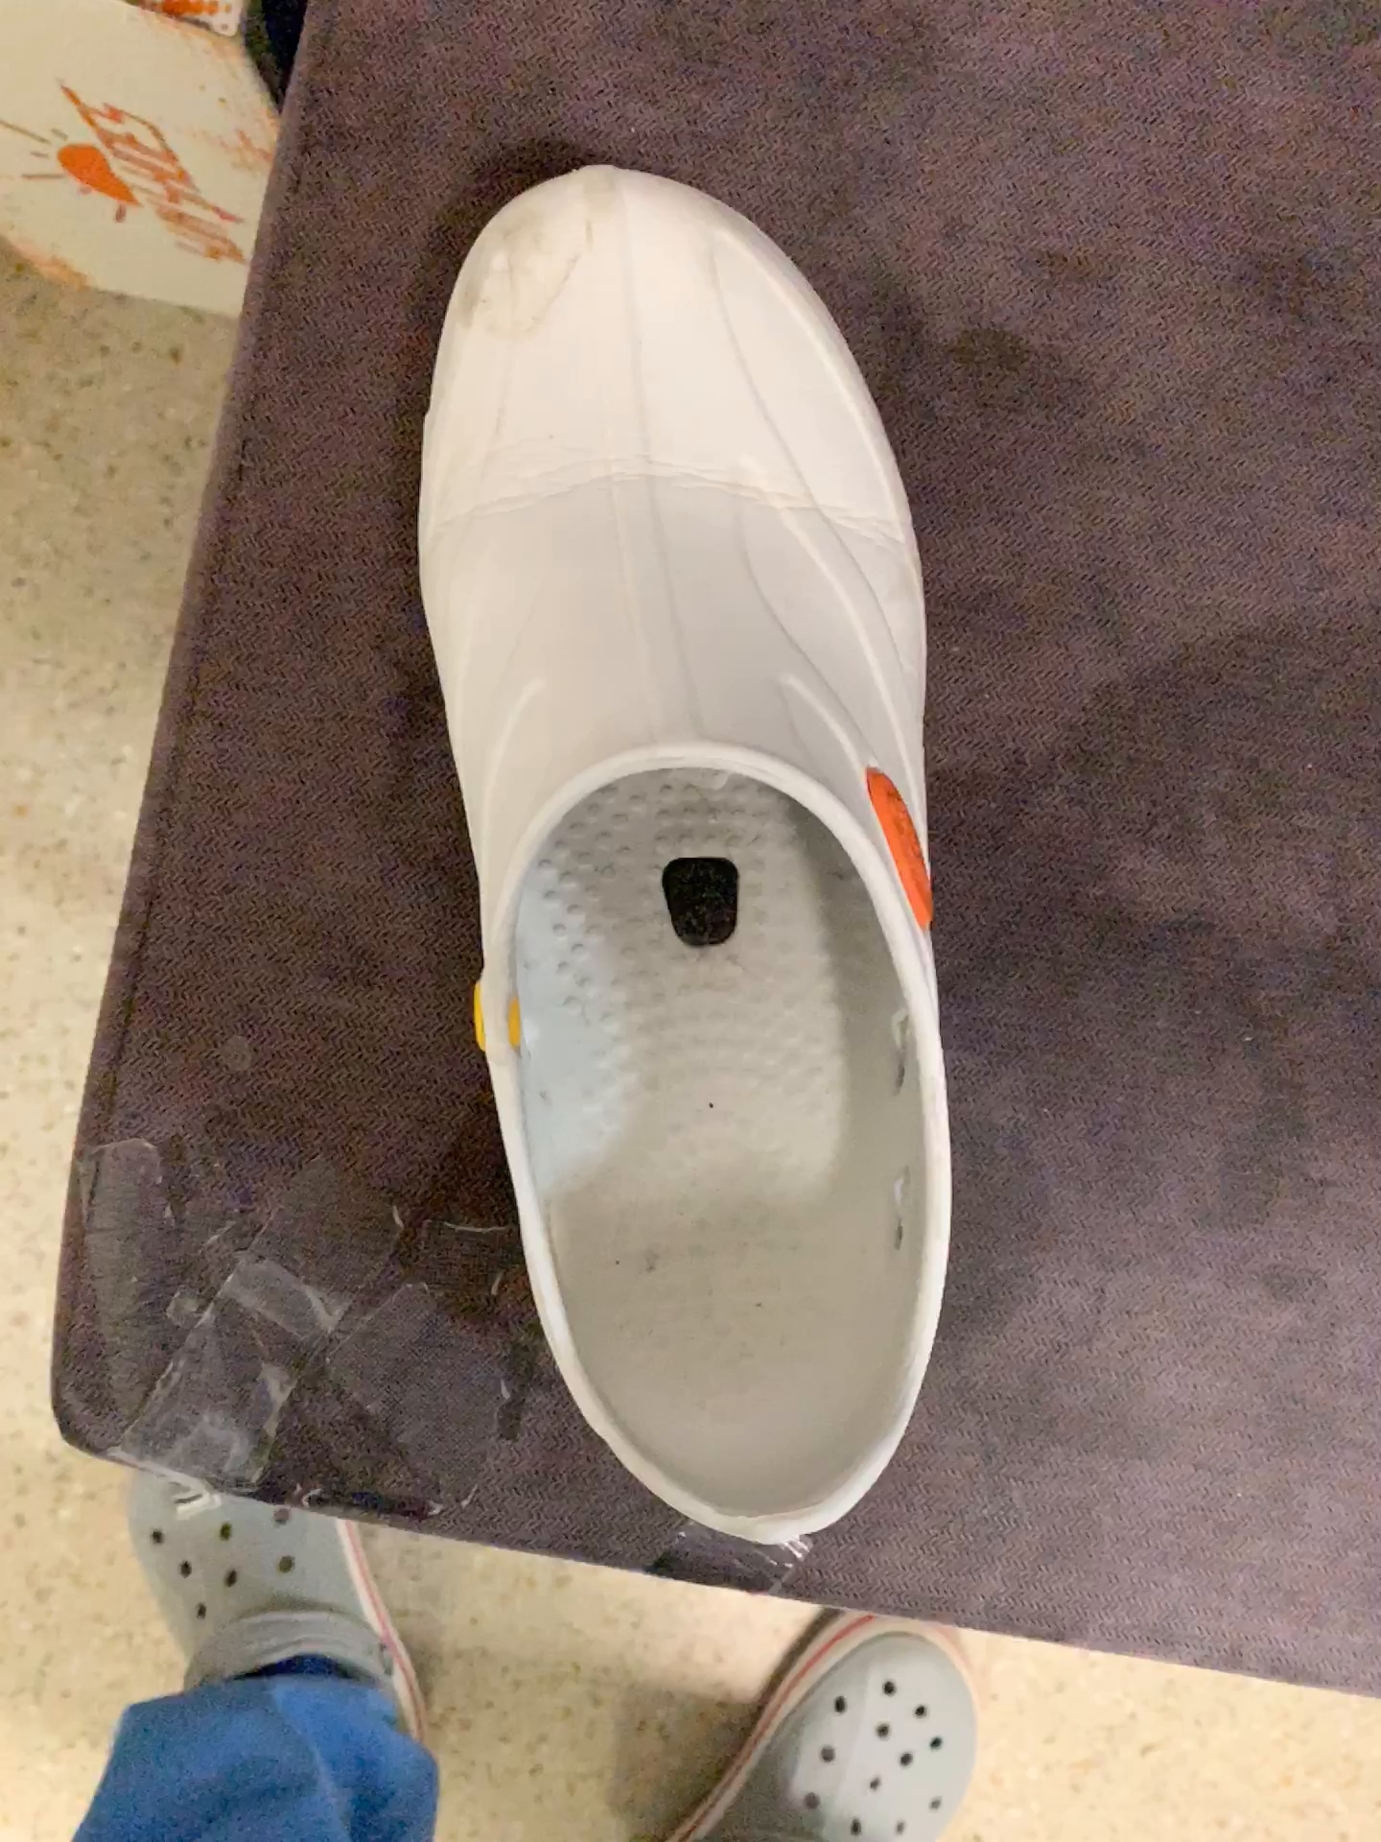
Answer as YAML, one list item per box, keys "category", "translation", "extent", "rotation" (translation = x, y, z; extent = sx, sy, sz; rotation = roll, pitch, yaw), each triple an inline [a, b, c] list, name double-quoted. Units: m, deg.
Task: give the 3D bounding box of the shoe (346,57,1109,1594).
- category: "shoe"
  translation: [0.005, -0.014, 0.251]
  extent: [0.091, 0.093, 0.213]
  rotation: [-5, 92, -2]
